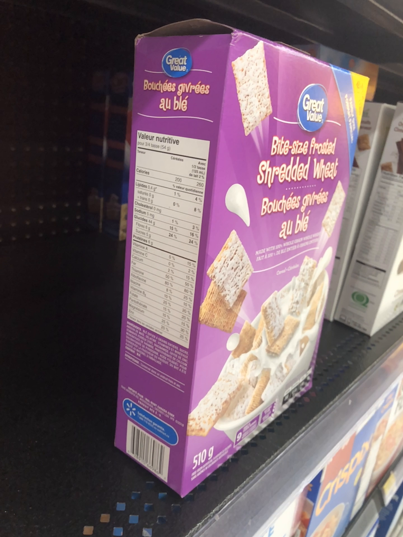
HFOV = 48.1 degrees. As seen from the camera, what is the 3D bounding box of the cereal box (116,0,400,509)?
[{"bbox_3d":[0.047,-0.013,0.334,0.070,0.279,0.210,19,22,36],"label":"cereal box"}]
